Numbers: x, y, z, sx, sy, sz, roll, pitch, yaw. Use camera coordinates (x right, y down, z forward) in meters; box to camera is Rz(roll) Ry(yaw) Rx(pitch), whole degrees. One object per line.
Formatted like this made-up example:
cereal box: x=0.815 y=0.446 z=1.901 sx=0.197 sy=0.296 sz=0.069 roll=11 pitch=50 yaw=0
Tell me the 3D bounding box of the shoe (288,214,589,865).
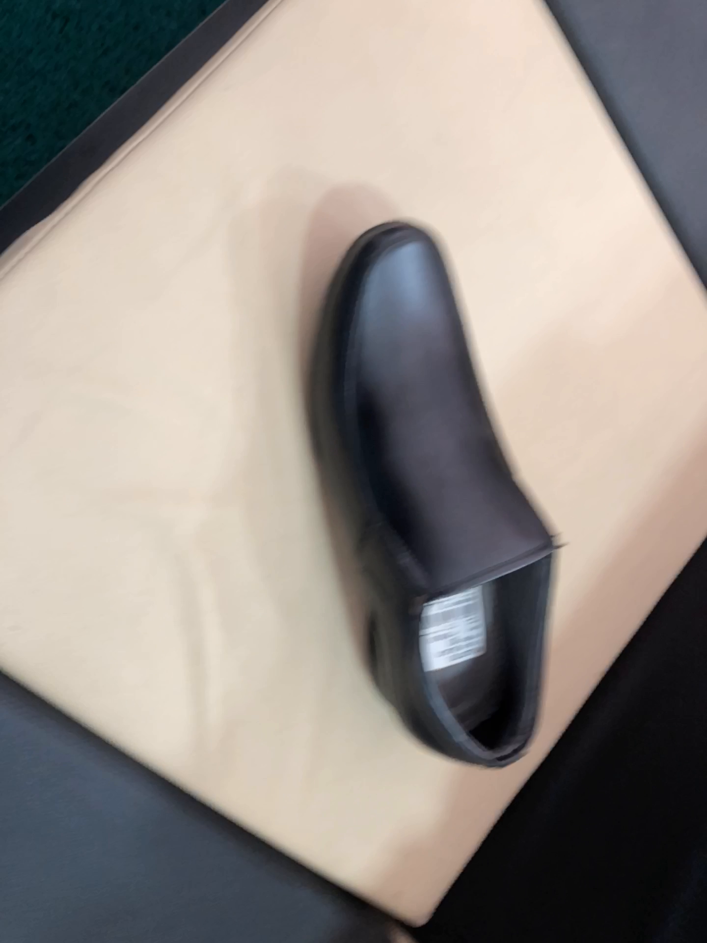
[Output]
shoe: x=0.051 y=0.034 z=0.437 sx=0.100 sy=0.099 sz=0.320 roll=-14 pitch=106 yaw=-25
